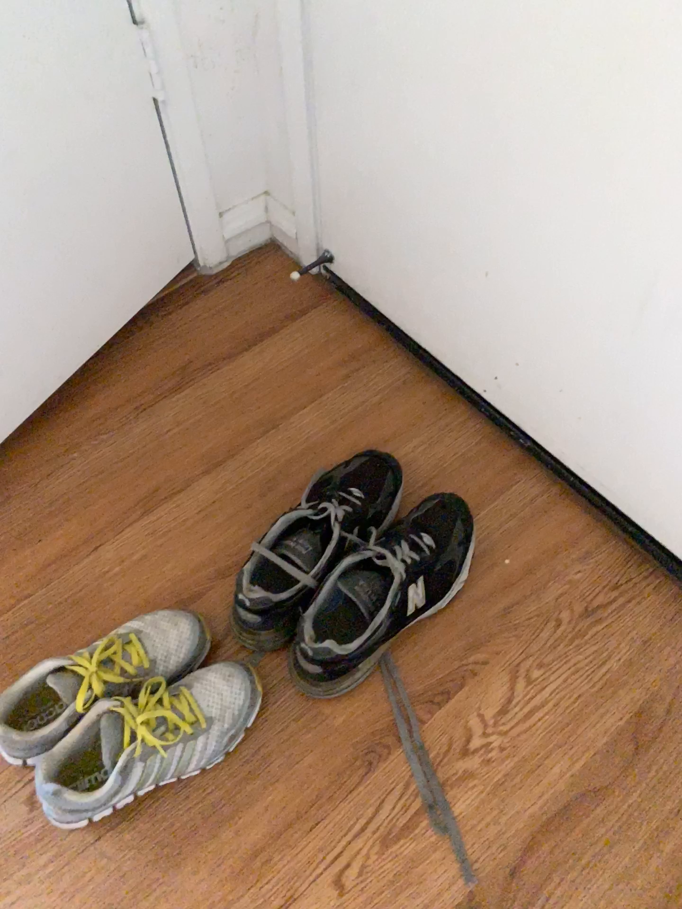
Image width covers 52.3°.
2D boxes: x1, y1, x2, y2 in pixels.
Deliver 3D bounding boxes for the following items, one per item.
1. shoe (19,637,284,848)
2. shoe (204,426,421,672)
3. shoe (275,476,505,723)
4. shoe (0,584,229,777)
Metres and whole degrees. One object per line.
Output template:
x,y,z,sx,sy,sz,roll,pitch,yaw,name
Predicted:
-0.201,0.328,0.798,0.250,0.170,0.090,-27,69,-14,shoe
-0.033,0.131,0.973,0.100,0.169,0.310,37,65,17,shoe
0.062,0.192,0.913,0.300,0.169,0.100,-40,70,-21,shoe
-0.269,0.260,0.787,0.260,0.170,0.070,-27,69,-14,shoe
